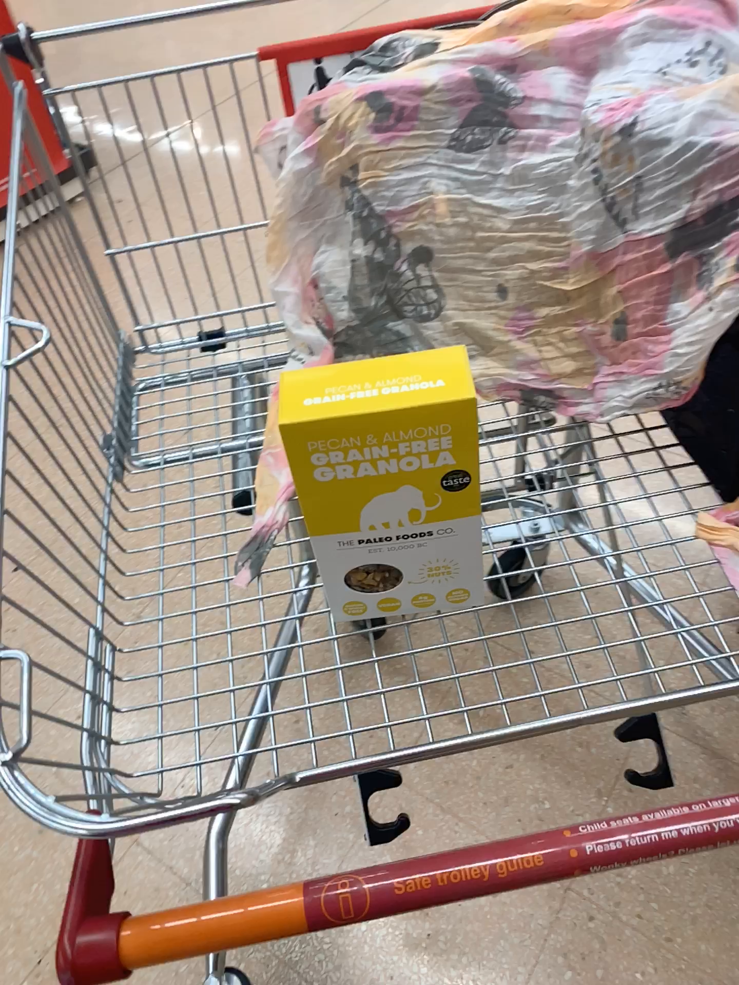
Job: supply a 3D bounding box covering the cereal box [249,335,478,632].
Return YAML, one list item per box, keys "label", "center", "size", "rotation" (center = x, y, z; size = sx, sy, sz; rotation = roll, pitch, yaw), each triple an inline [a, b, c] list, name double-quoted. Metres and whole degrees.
- label: "cereal box"
  center: [0.005, 0.004, 0.522]
  size: [0.130, 0.208, 0.061]
  rotation: [-7, 45, 2]
